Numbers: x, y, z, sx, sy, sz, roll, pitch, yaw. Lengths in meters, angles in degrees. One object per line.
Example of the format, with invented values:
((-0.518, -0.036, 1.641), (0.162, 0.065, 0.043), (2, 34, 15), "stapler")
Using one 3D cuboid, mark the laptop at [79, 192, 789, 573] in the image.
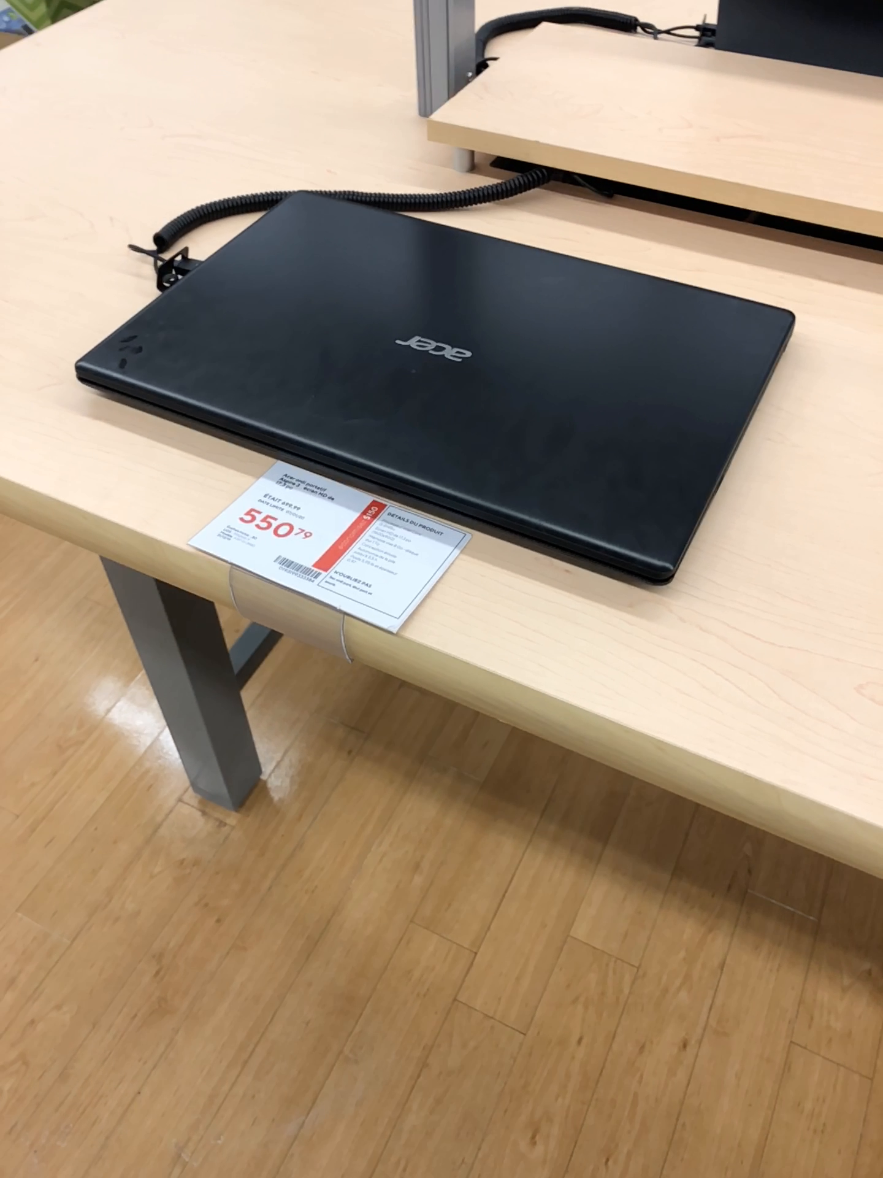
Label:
((-0.002, -0.170, 0.665), (0.417, 0.001, 0.268), (21, 52, 19), "laptop")
